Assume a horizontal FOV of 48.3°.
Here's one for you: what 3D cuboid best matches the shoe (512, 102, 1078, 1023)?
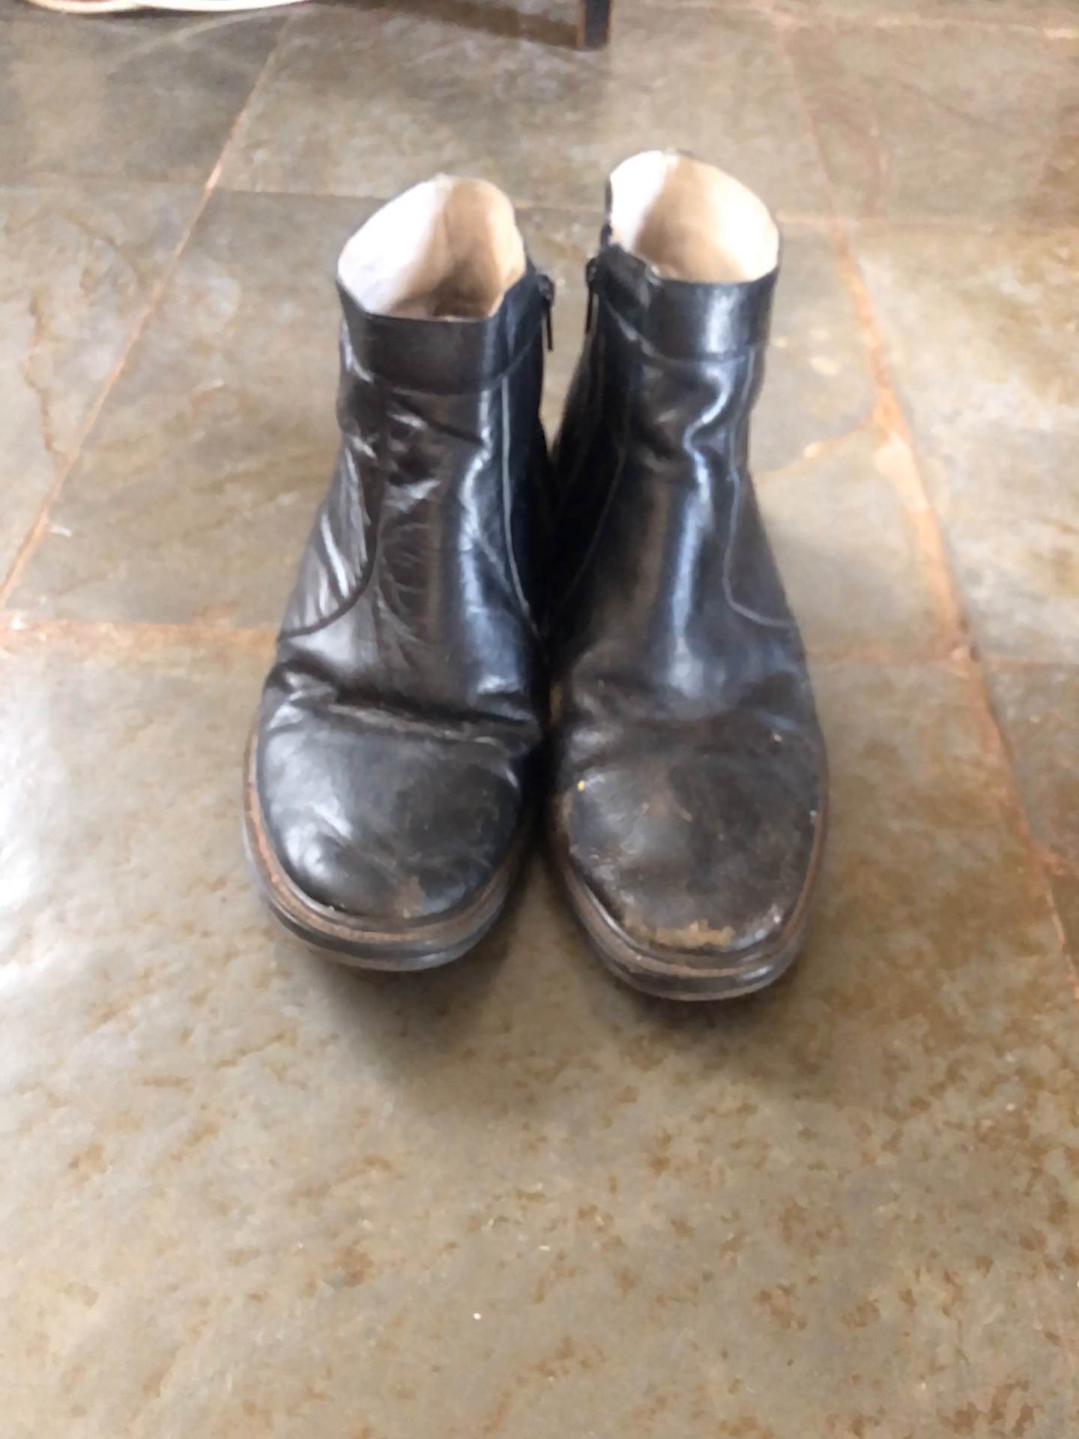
[{"bbox_3d":[0.048,-0.060,0.376,0.100,0.159,0.252,-1,47,-4],"label":"shoe"}]

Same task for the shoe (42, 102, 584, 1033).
[{"bbox_3d":[-0.043,-0.059,0.375,0.100,0.159,0.252,3,47,0],"label":"shoe"}]
